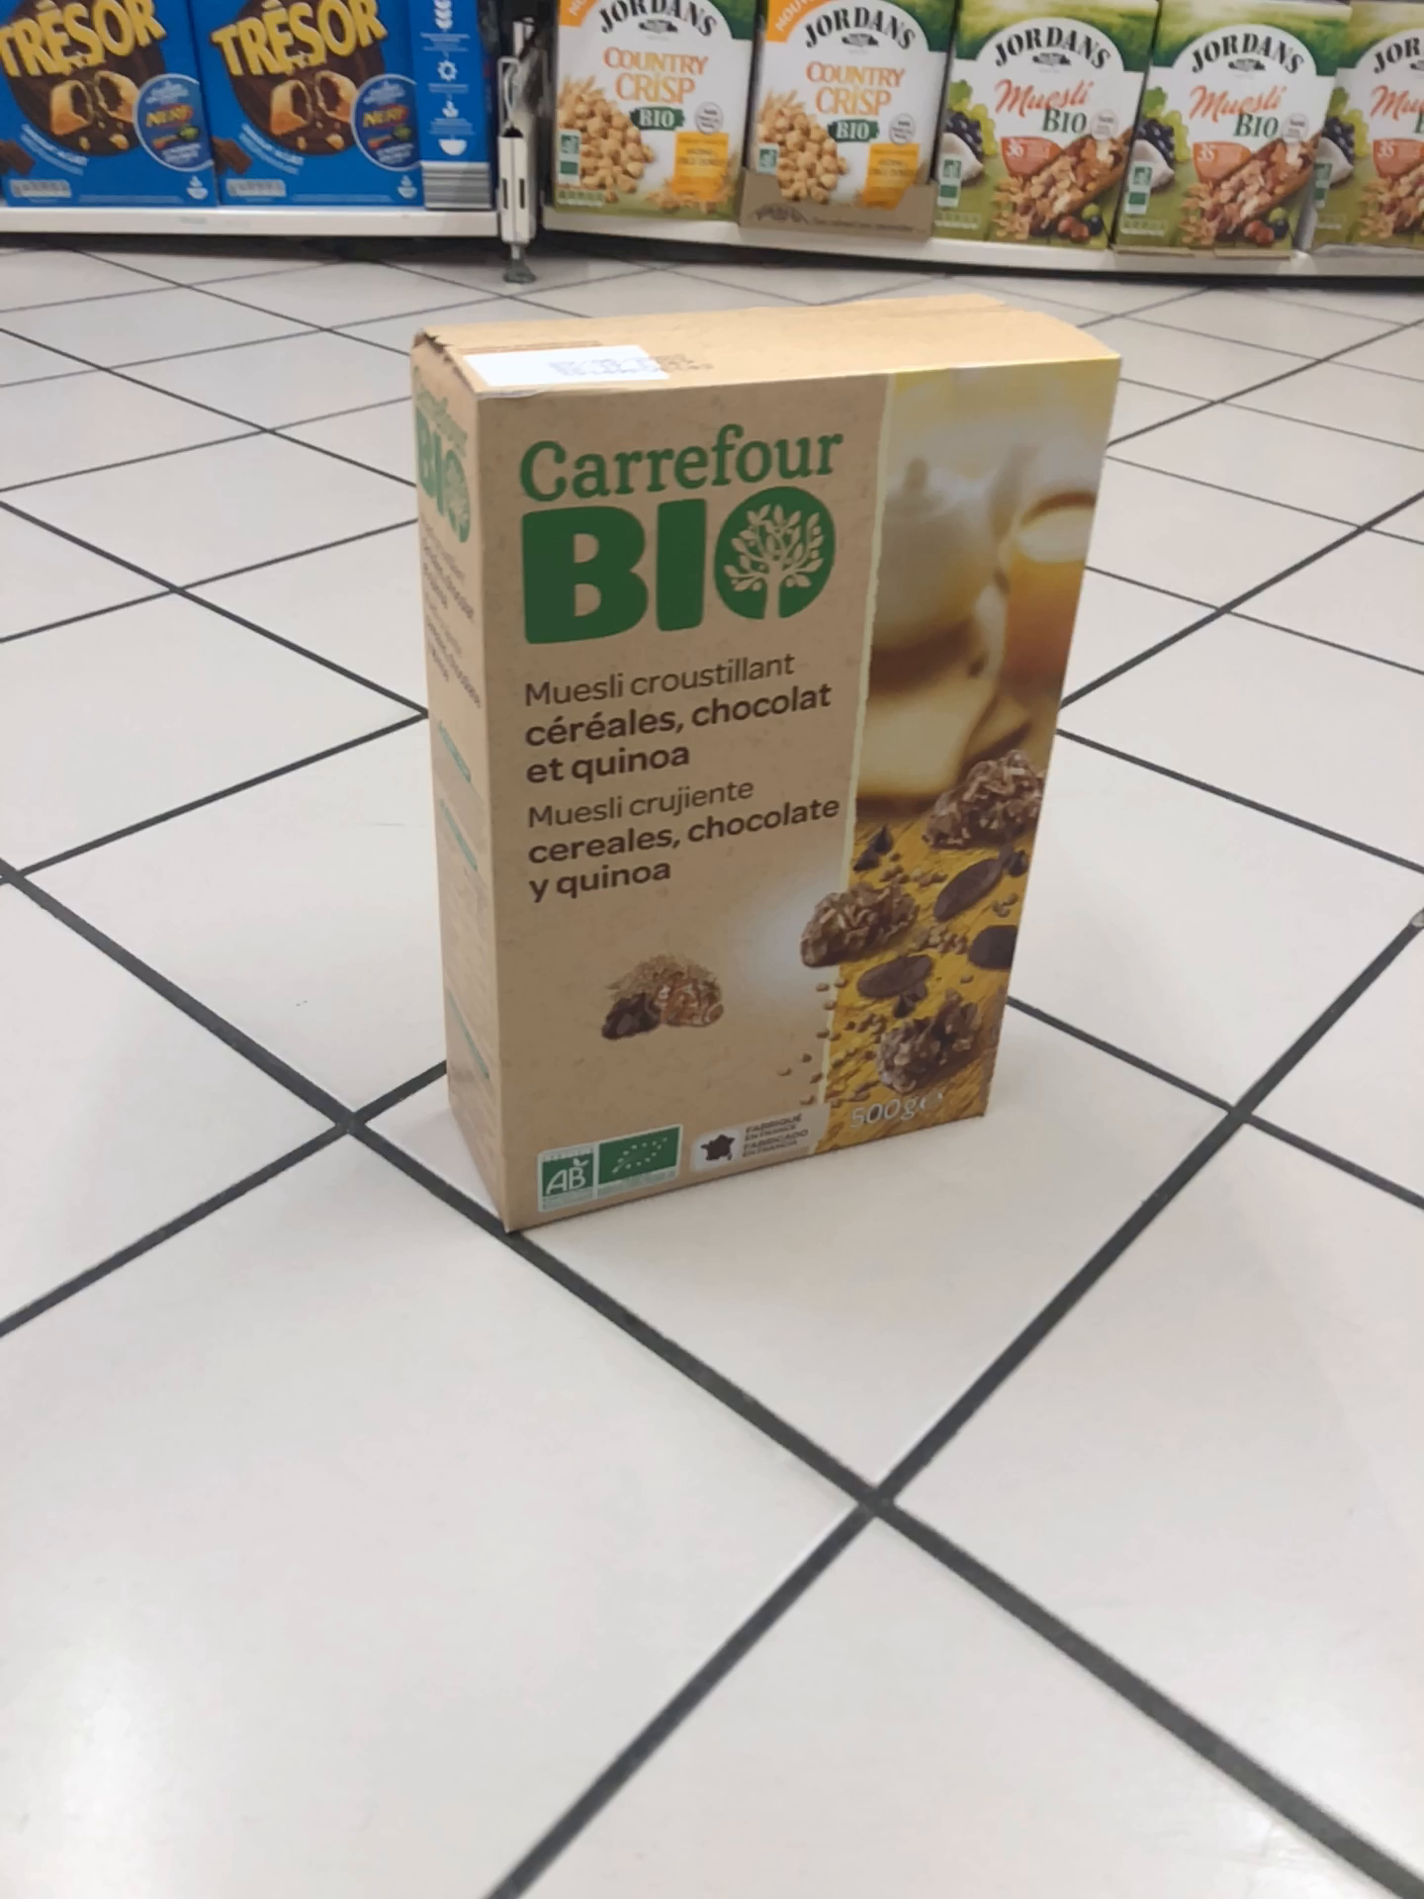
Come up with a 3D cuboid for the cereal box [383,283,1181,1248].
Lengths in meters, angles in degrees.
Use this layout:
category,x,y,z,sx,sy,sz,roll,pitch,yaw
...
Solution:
category,x,y,z,sx,sy,sz,roll,pitch,yaw
cereal box,0.012,-0.048,0.421,0.170,0.229,0.070,-11,35,-20
